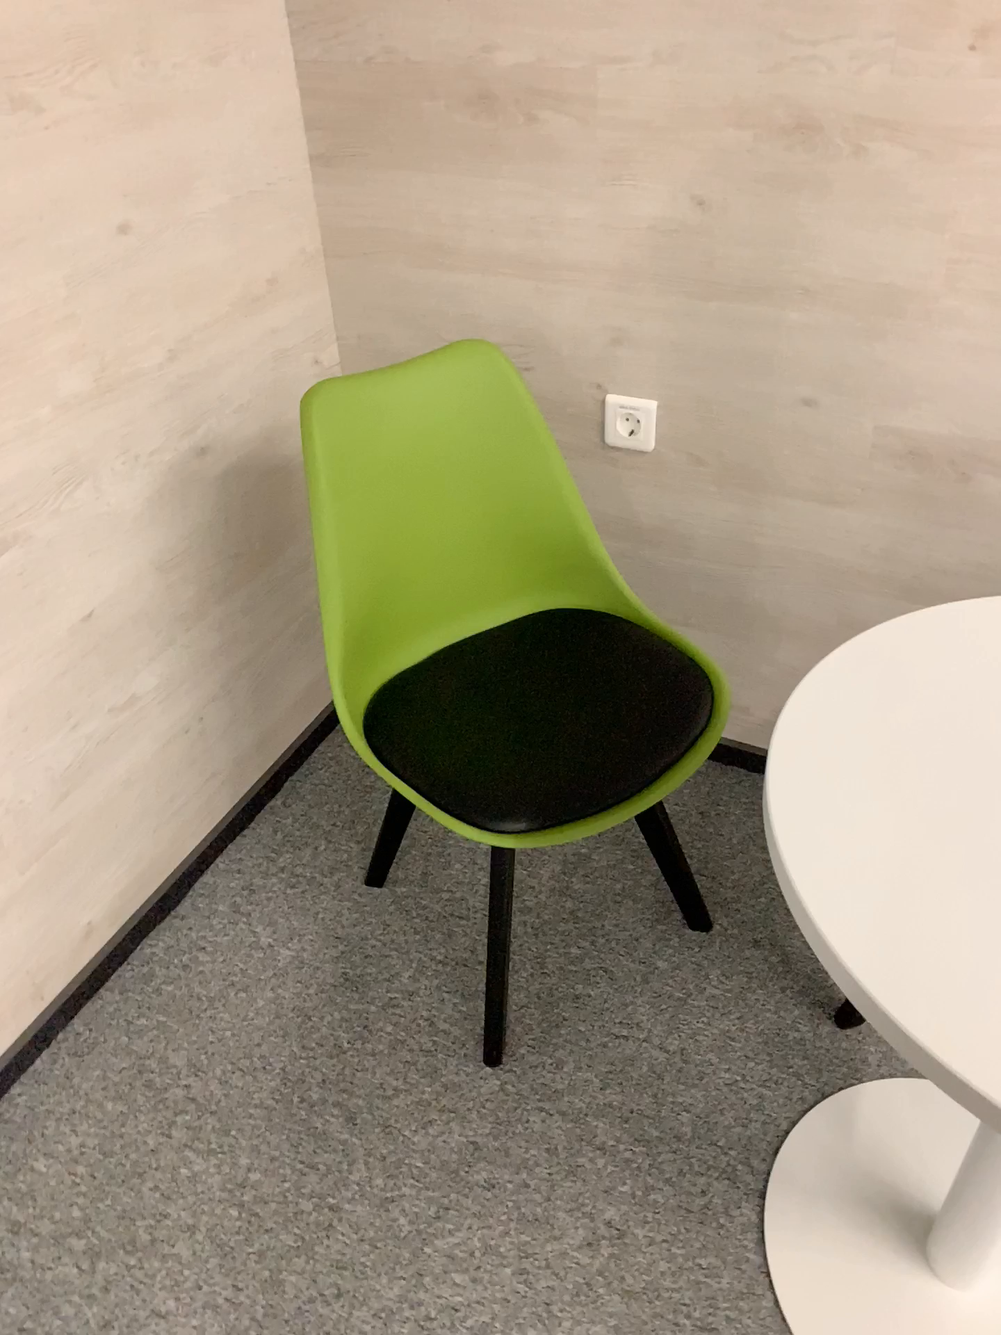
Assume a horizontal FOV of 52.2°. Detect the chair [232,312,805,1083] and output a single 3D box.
[{"bbox_3d":[0.027,0.042,1.461,0.491,0.865,0.482,-24,42,-24],"label":"chair"}]
